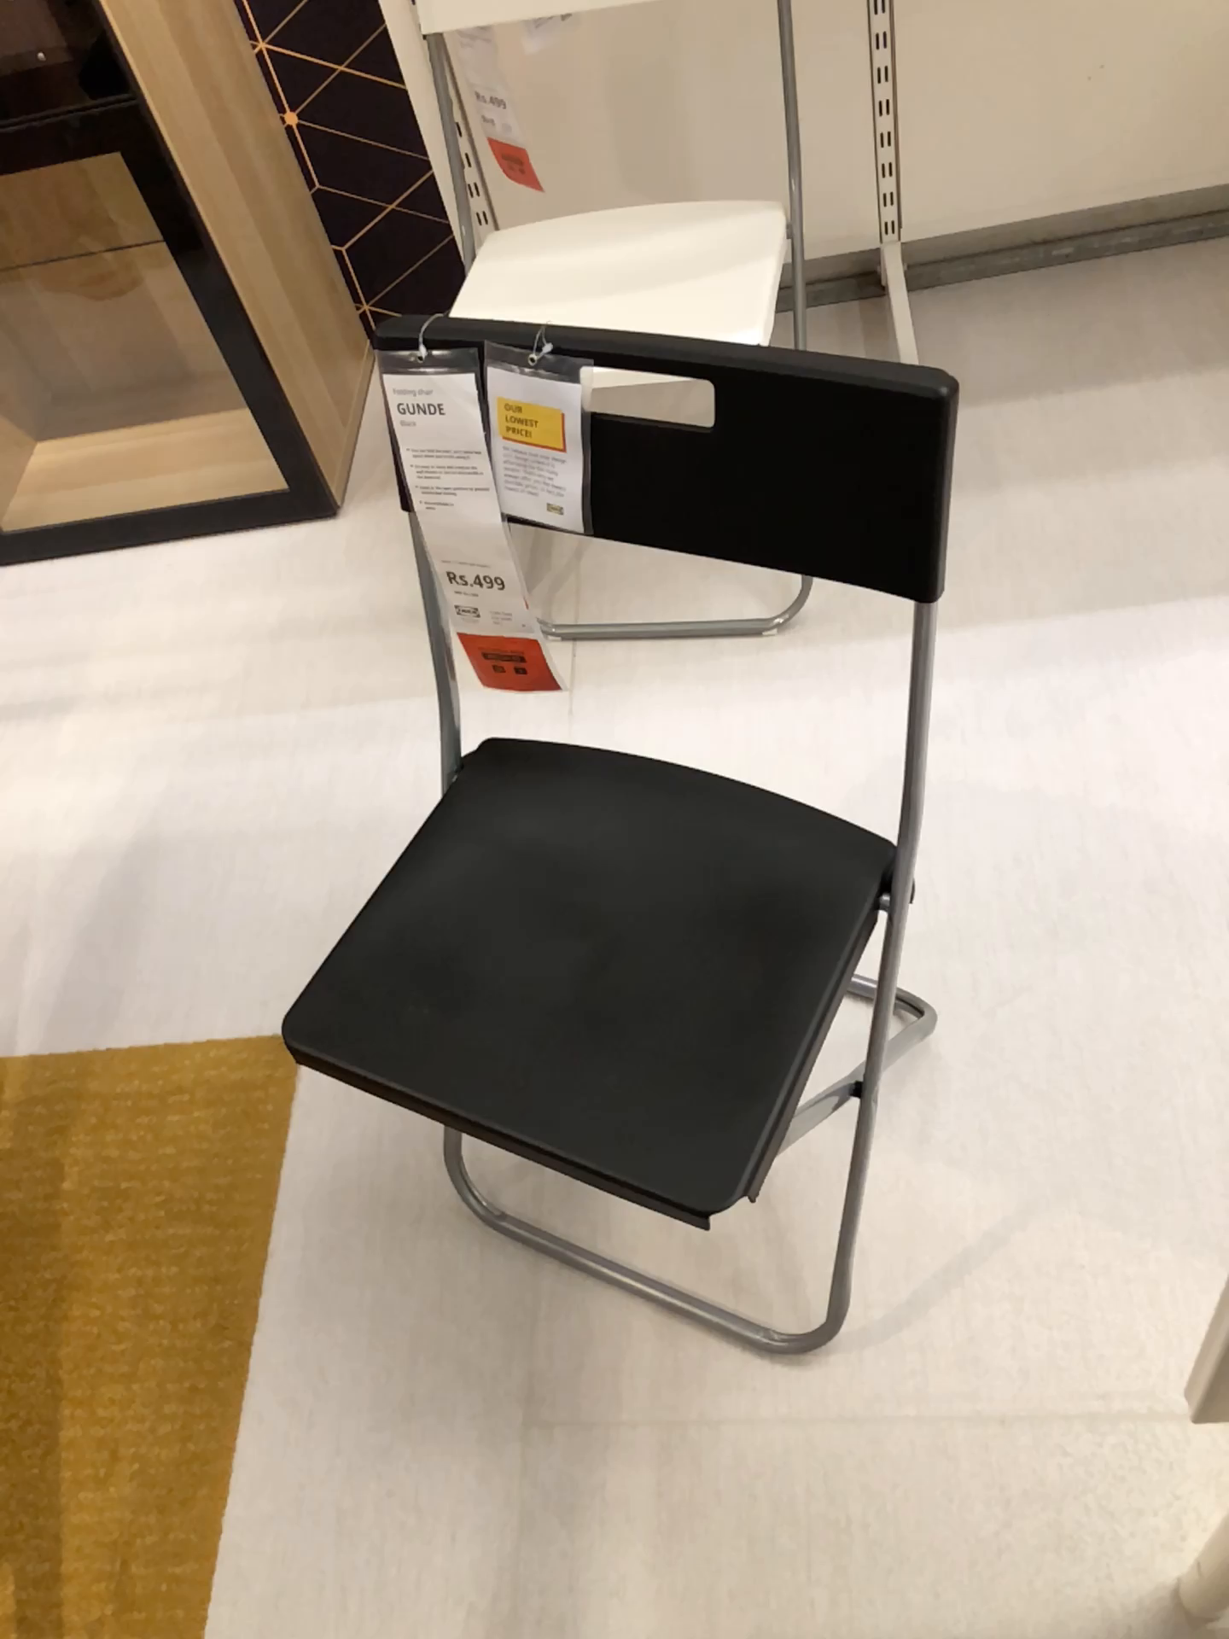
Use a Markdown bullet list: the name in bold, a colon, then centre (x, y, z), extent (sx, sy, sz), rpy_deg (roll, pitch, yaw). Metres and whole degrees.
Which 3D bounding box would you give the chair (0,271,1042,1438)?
- **chair**: centre (0.009, 0.069, 1.077), extent (0.501, 0.785, 0.462), rpy_deg (15, 59, 24)
